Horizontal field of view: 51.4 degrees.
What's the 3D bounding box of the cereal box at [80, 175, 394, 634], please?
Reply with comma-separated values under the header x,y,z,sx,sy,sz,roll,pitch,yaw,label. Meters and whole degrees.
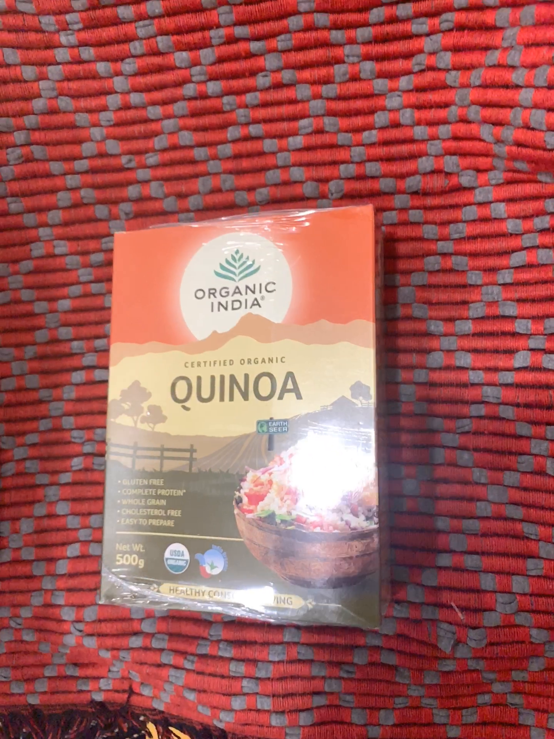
x,y,z,sx,sy,sz,roll,pitch,yaw,label
-0.015,0.015,0.277,0.130,0.070,0.180,-2,84,16,cereal box
